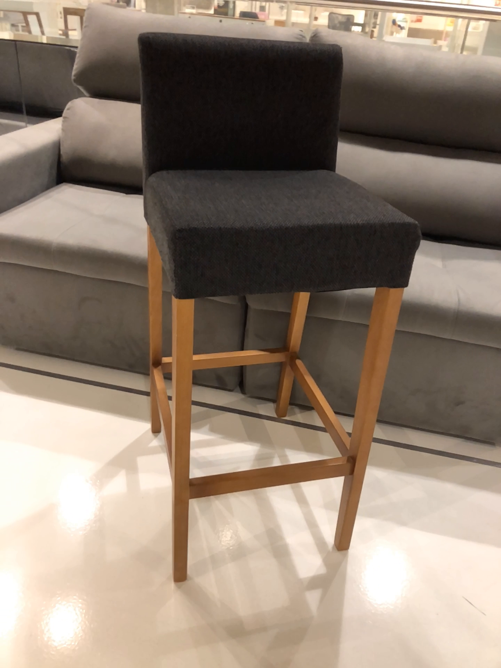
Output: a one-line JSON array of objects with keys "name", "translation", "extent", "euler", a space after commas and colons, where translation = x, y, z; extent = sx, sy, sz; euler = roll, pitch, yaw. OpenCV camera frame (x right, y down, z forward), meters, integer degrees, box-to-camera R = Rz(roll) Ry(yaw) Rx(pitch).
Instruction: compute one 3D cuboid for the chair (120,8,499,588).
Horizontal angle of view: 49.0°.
[{"name": "chair", "translation": [-0.010, -0.087, 1.138], "extent": [0.450, 0.973, 0.584], "euler": [-3, 30, -16]}]
